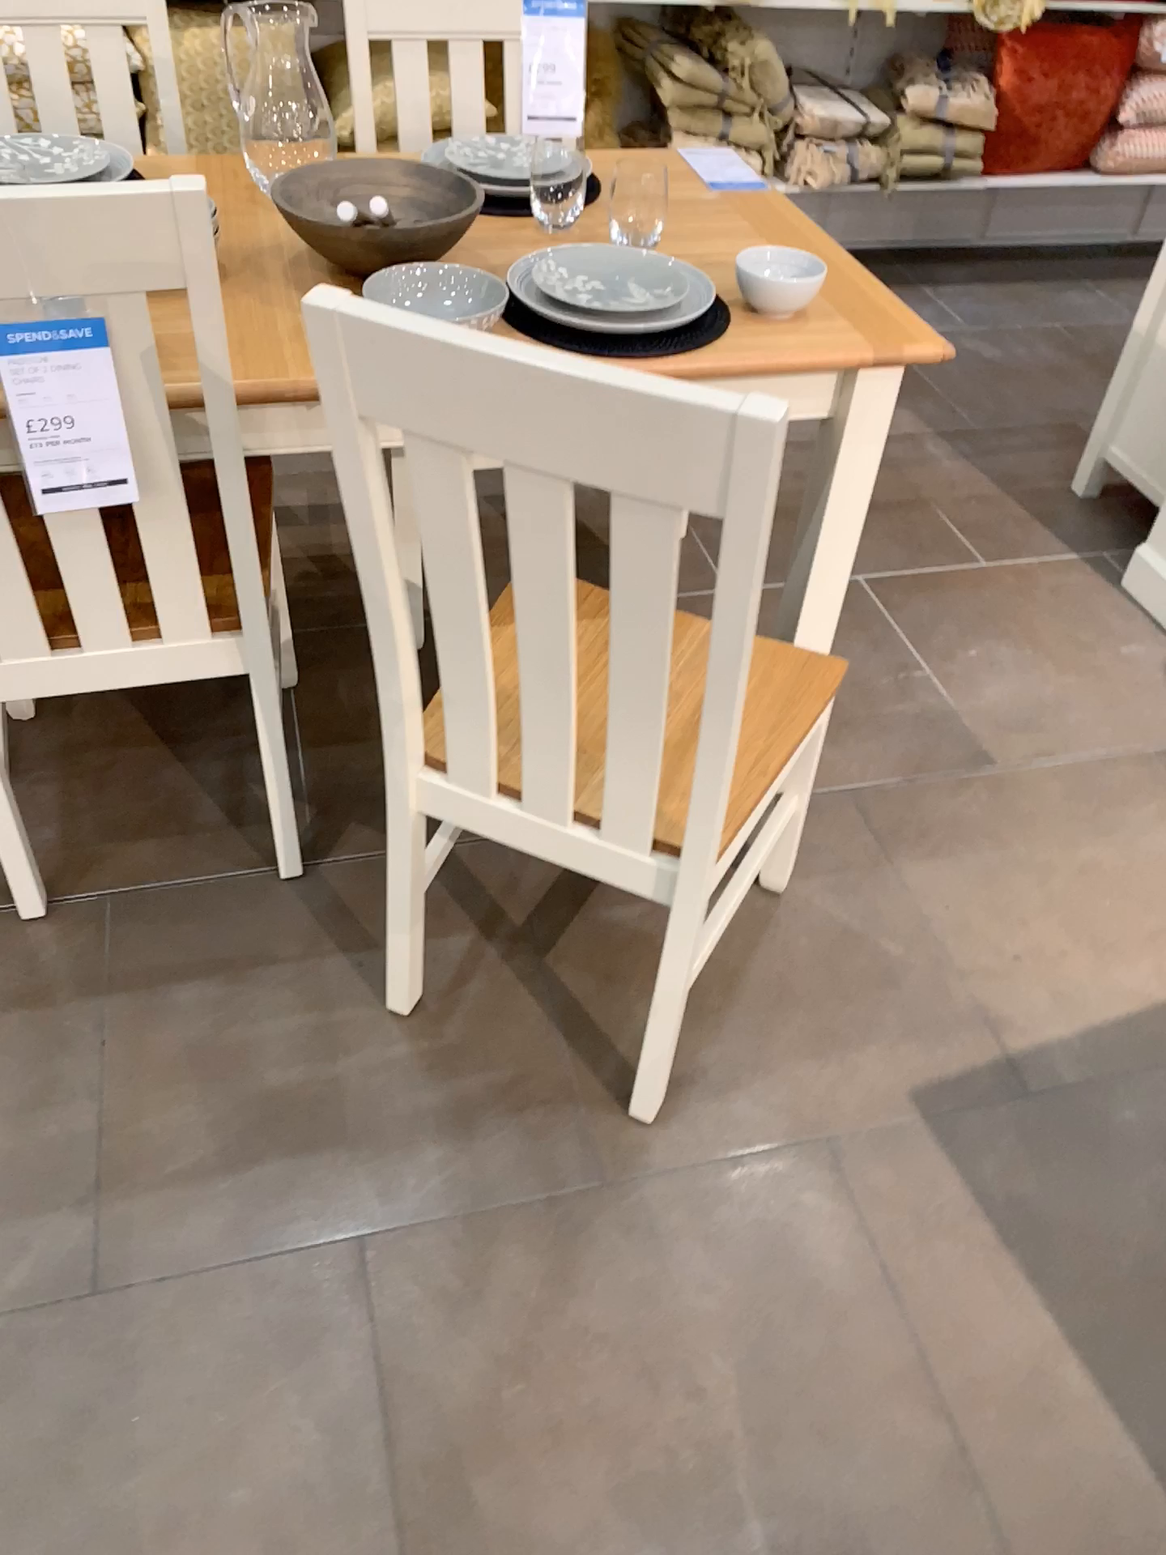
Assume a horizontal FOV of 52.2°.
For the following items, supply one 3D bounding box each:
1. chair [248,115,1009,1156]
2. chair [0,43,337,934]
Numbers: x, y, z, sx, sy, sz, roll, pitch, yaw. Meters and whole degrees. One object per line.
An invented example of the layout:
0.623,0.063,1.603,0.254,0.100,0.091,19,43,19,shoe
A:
0.051,-0.136,1.352,0.502,0.925,0.550,19,44,15,chair
-0.608,-0.337,1.519,0.472,0.925,0.540,-6,44,-12,chair
